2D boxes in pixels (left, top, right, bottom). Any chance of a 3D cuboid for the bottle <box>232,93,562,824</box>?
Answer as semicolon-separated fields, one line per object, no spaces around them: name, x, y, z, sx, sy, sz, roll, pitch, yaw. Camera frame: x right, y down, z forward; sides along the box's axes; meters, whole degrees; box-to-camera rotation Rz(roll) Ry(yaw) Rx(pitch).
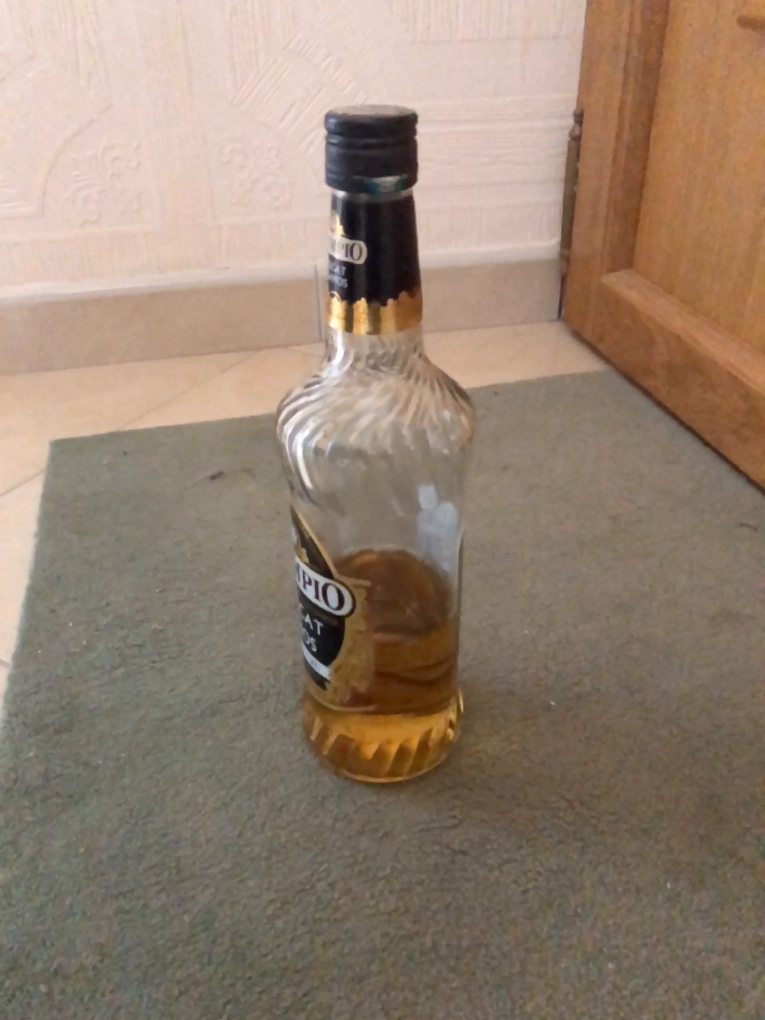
bottle;0.001;-0.006;0.350;0.090;0.288;0.090;-1;33;0
